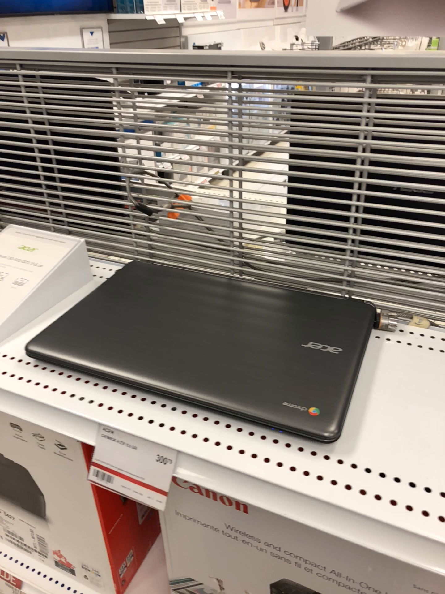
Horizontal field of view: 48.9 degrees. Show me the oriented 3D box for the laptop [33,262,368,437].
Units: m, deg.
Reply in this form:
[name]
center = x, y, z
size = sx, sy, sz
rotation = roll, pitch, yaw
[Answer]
[laptop]
center = -0.021, 0.036, 0.616
size = 0.367, 0.001, 0.238
rotation = 11, 33, 23
